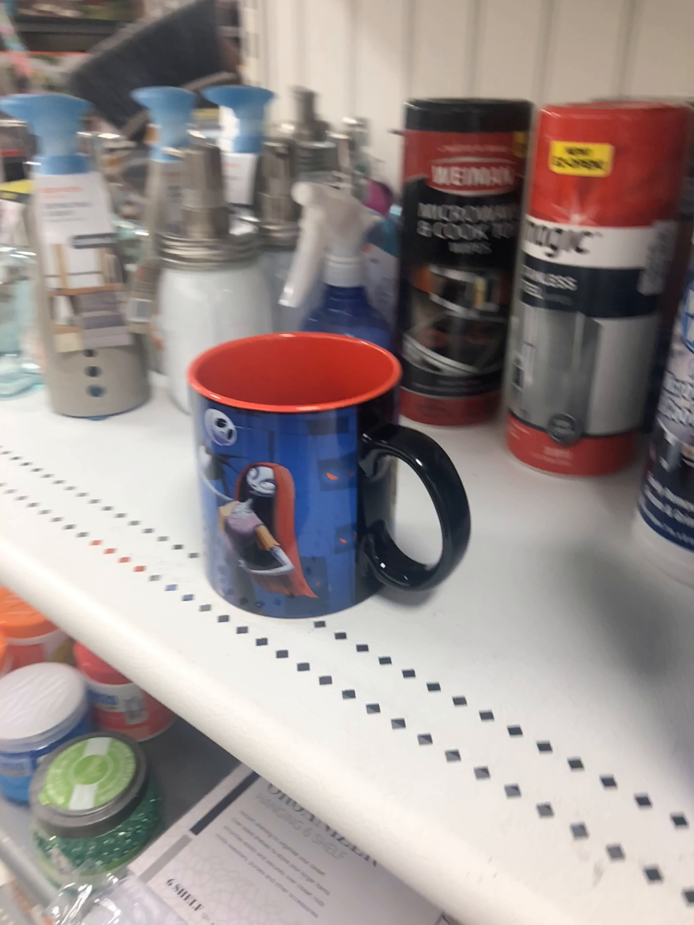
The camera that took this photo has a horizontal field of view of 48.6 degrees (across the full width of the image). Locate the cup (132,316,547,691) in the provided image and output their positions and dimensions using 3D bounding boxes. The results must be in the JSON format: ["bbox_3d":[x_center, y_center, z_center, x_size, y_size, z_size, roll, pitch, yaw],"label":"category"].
[{"bbox_3d":[-0.002,0.006,0.367,0.147,0.103,0.113,17,32,30],"label":"cup"}]
